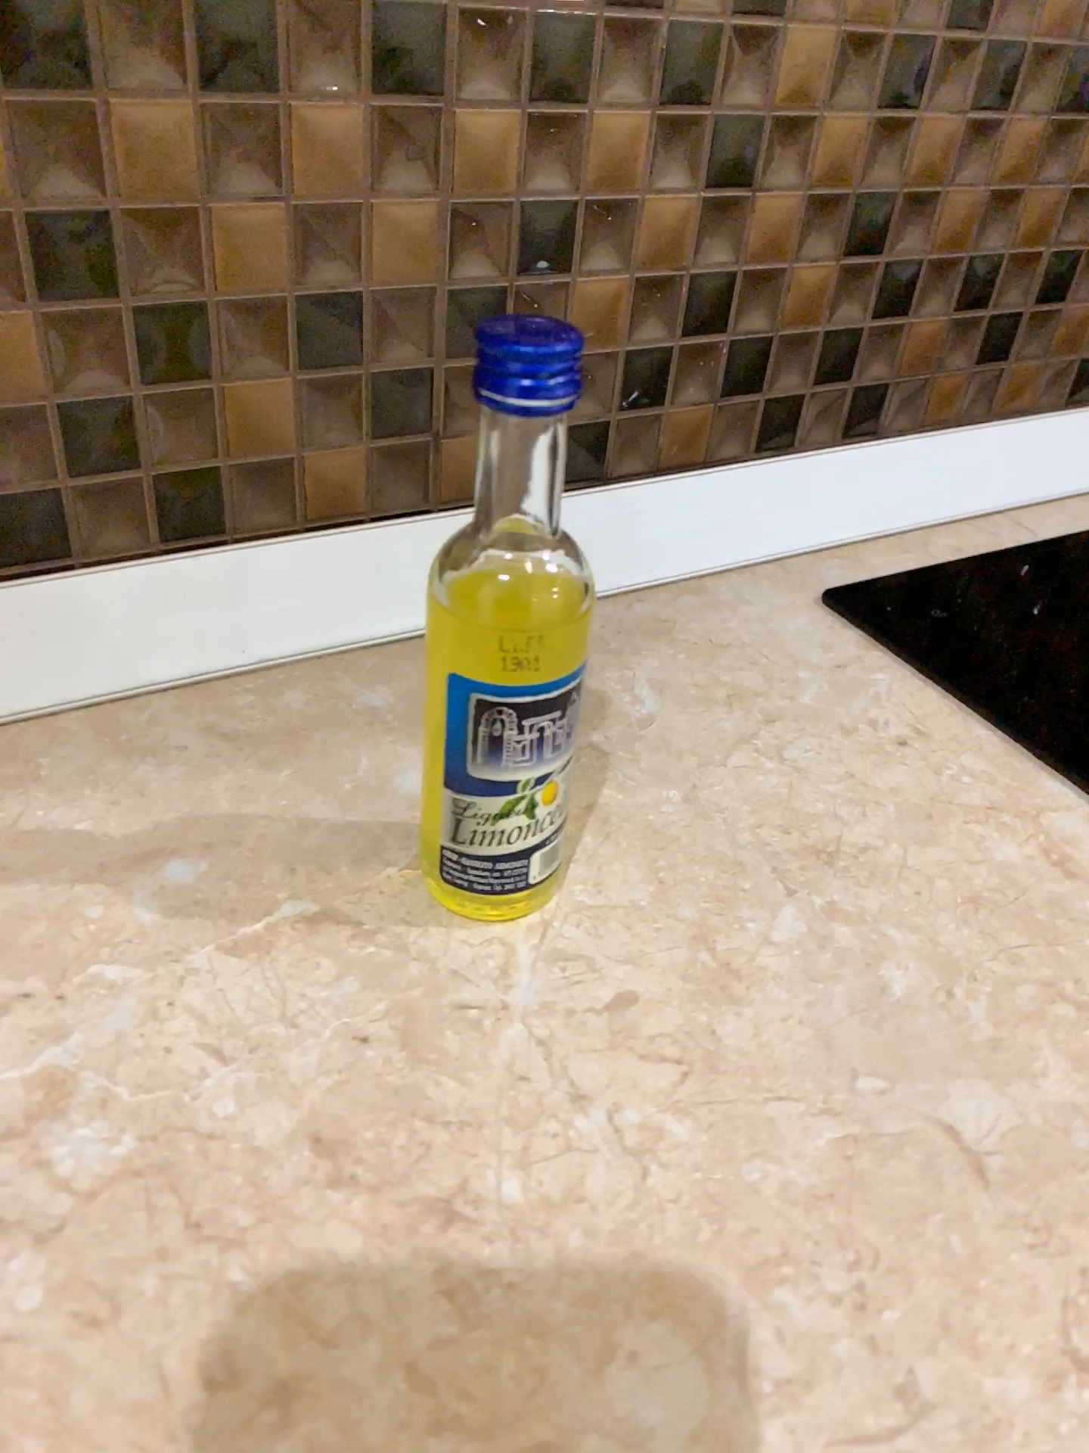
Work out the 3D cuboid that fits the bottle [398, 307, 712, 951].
[{"bbox_3d":[-0.003,-0.015,0.221,0.039,0.119,0.033,-15,41,-27],"label":"bottle"}]
